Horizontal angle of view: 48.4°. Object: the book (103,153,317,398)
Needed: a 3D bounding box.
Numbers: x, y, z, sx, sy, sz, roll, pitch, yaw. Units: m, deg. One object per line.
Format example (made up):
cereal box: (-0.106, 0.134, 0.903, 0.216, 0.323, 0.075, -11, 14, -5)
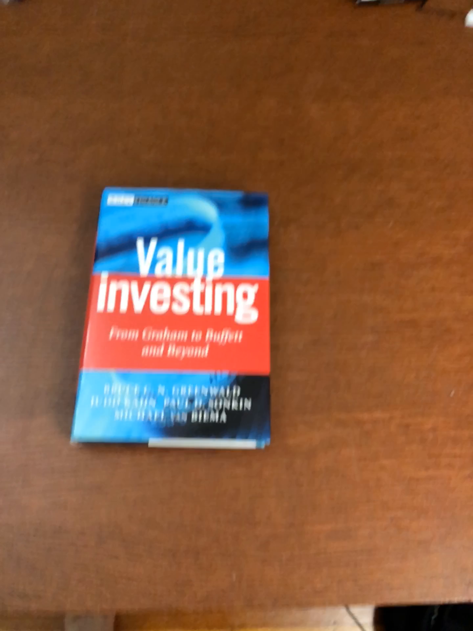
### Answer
book: (-0.019, -0.044, 0.472, 0.170, 0.020, 0.230, 2, 67, -1)
